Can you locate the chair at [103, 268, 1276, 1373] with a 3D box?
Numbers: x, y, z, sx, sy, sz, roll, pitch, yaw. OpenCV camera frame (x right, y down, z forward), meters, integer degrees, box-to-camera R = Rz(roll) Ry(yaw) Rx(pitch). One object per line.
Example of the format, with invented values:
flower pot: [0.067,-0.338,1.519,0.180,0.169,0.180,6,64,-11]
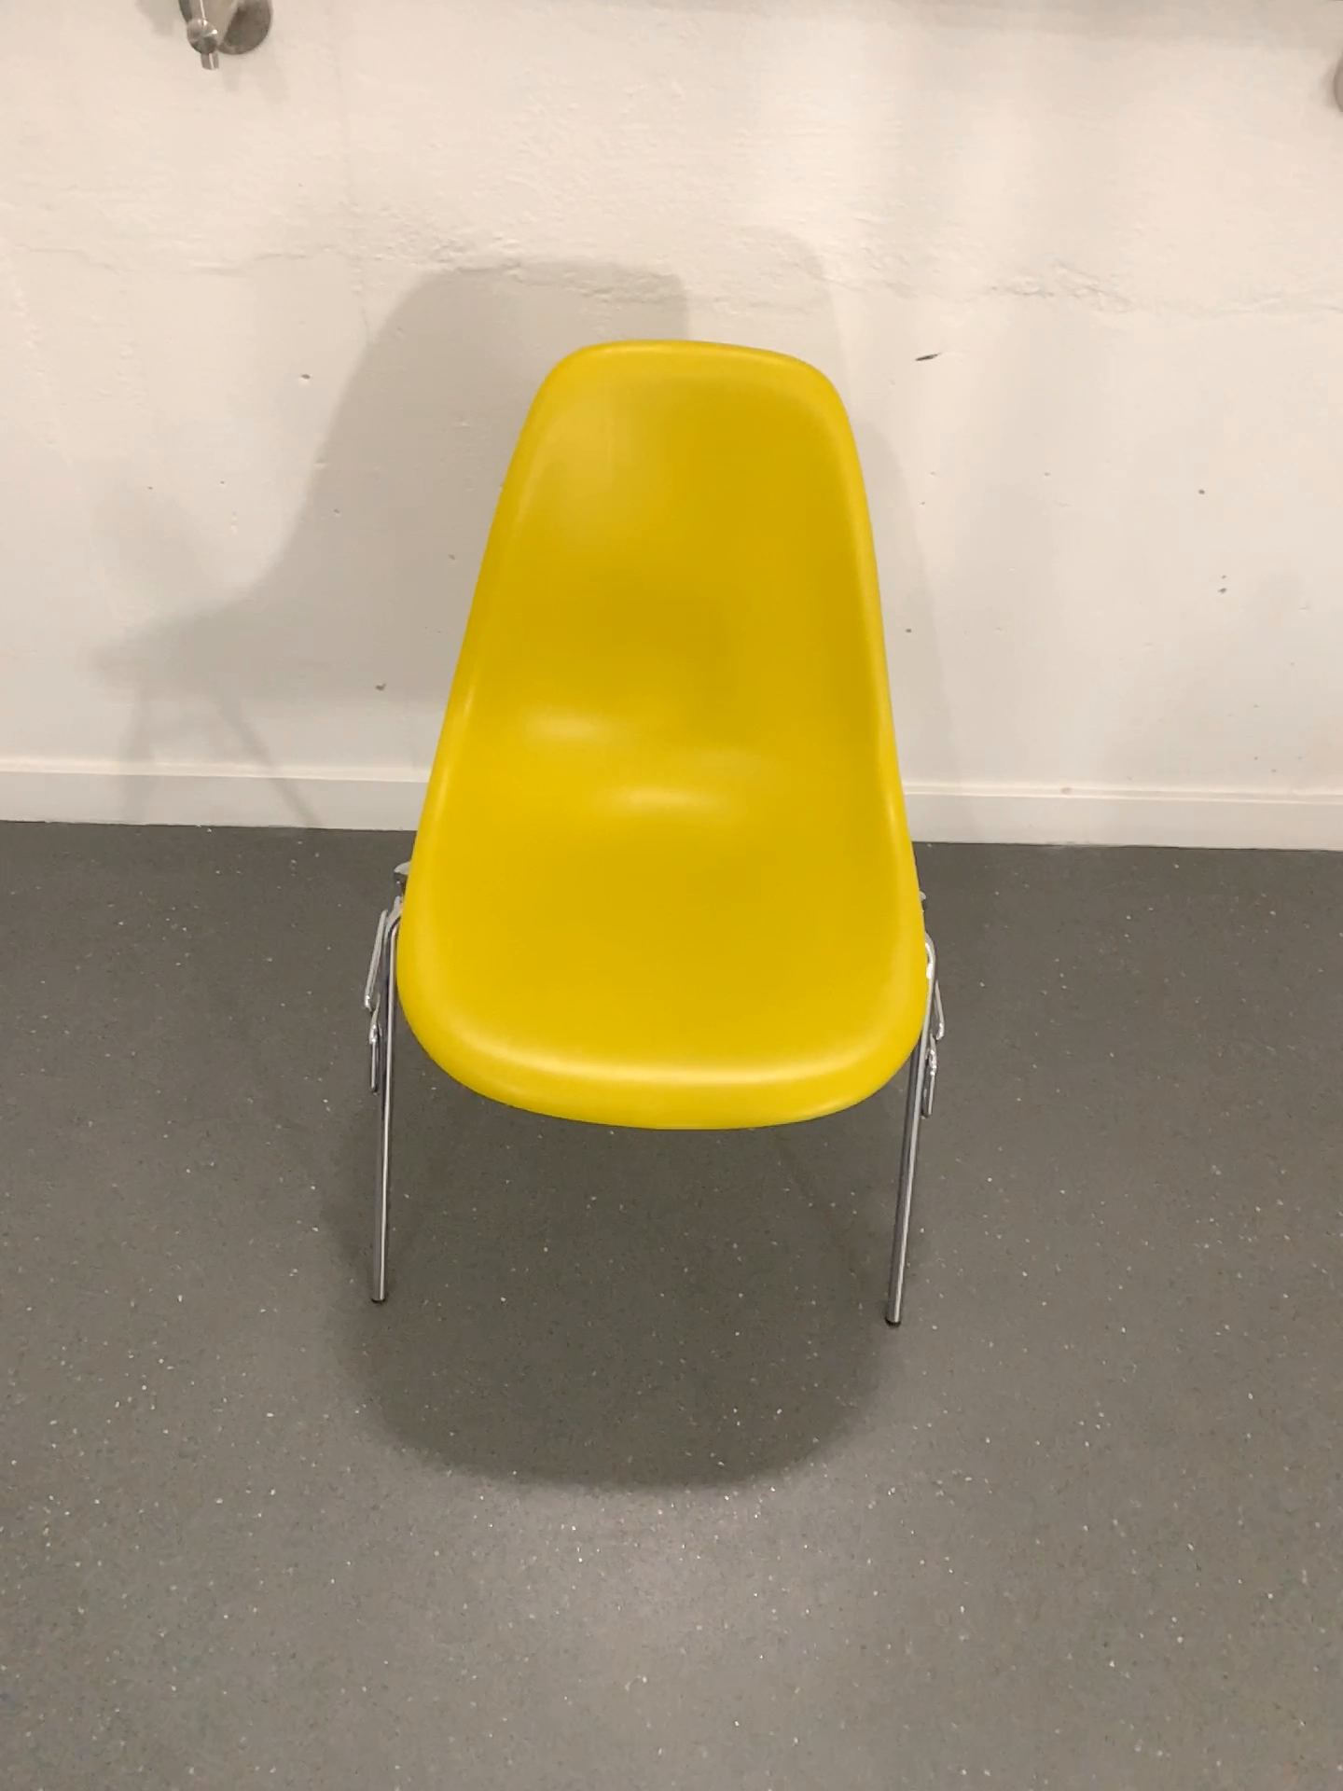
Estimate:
chair: [-0.015,-0.010,1.218,0.630,0.822,0.545,1,48,-4]
